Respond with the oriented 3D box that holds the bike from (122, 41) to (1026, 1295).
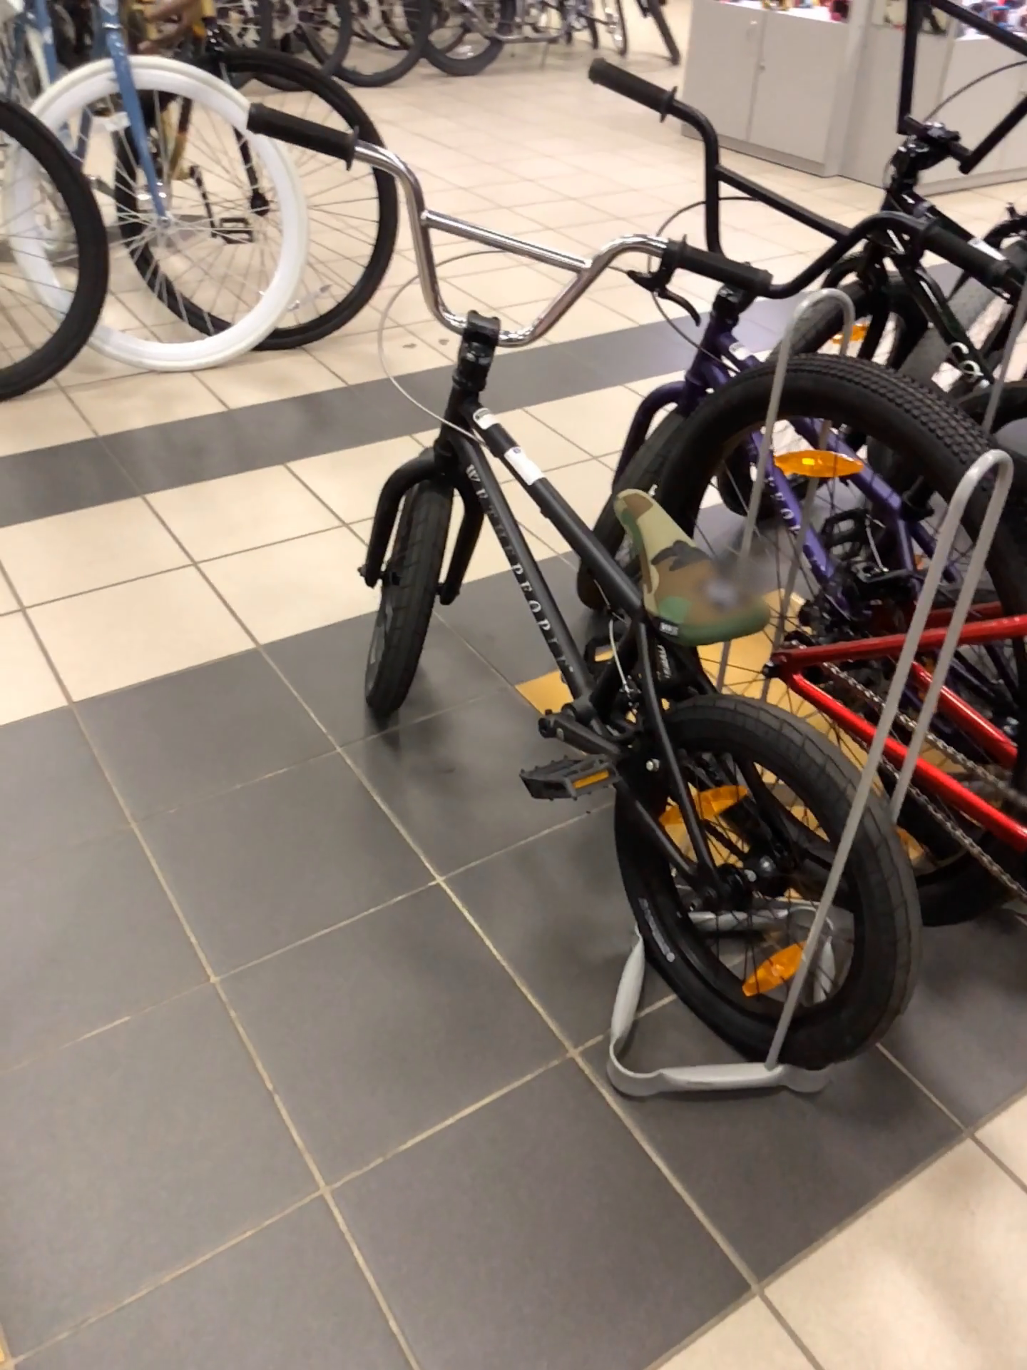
[{"bbox_3d":[0.089,-0.170,1.279,0.677,0.810,1.076,-16,41,-24],"label":"bike"}]
